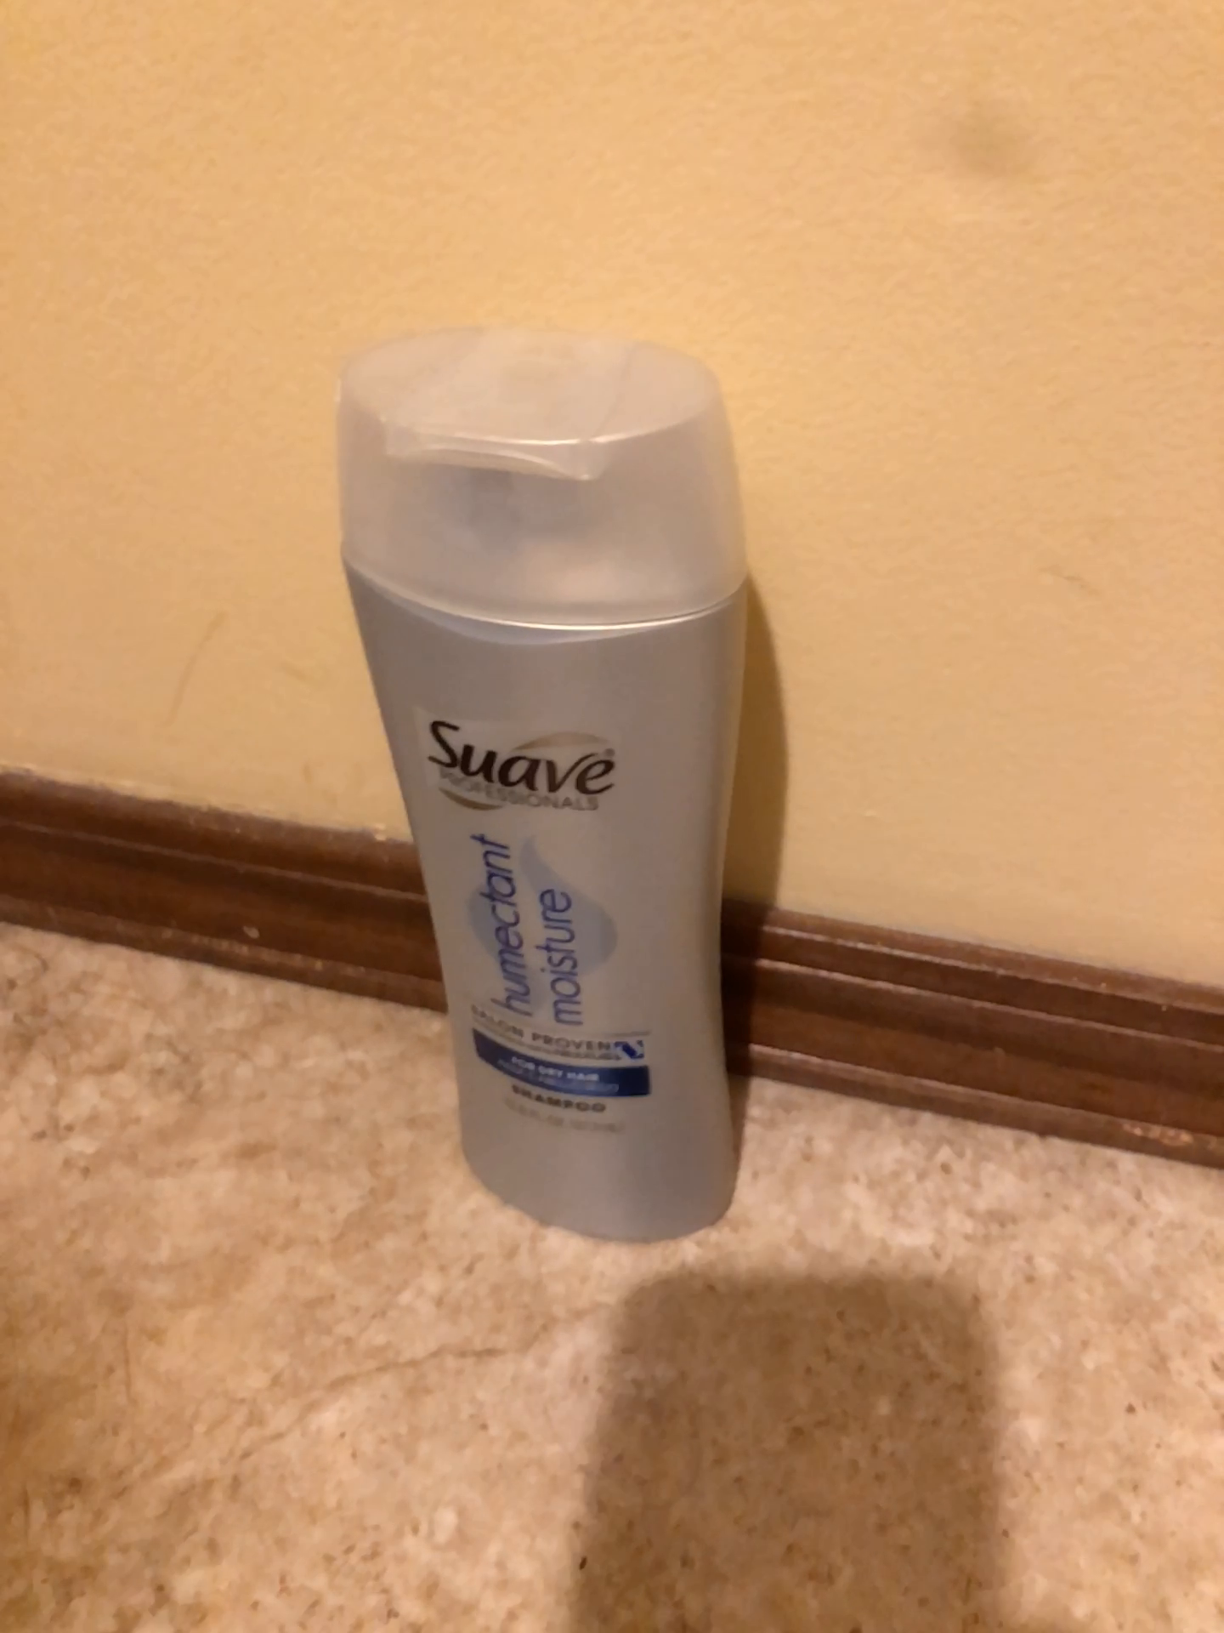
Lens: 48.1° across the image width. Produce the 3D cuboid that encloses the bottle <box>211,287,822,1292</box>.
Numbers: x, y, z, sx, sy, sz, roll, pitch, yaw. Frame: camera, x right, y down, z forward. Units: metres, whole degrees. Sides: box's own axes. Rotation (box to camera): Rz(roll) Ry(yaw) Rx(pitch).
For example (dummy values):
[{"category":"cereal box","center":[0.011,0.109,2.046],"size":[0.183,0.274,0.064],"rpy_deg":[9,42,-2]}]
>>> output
[{"category":"bottle","center":[-0.008,0.011,0.275],"size":[0.080,0.209,0.050],"rpy_deg":[8,43,12]}]
